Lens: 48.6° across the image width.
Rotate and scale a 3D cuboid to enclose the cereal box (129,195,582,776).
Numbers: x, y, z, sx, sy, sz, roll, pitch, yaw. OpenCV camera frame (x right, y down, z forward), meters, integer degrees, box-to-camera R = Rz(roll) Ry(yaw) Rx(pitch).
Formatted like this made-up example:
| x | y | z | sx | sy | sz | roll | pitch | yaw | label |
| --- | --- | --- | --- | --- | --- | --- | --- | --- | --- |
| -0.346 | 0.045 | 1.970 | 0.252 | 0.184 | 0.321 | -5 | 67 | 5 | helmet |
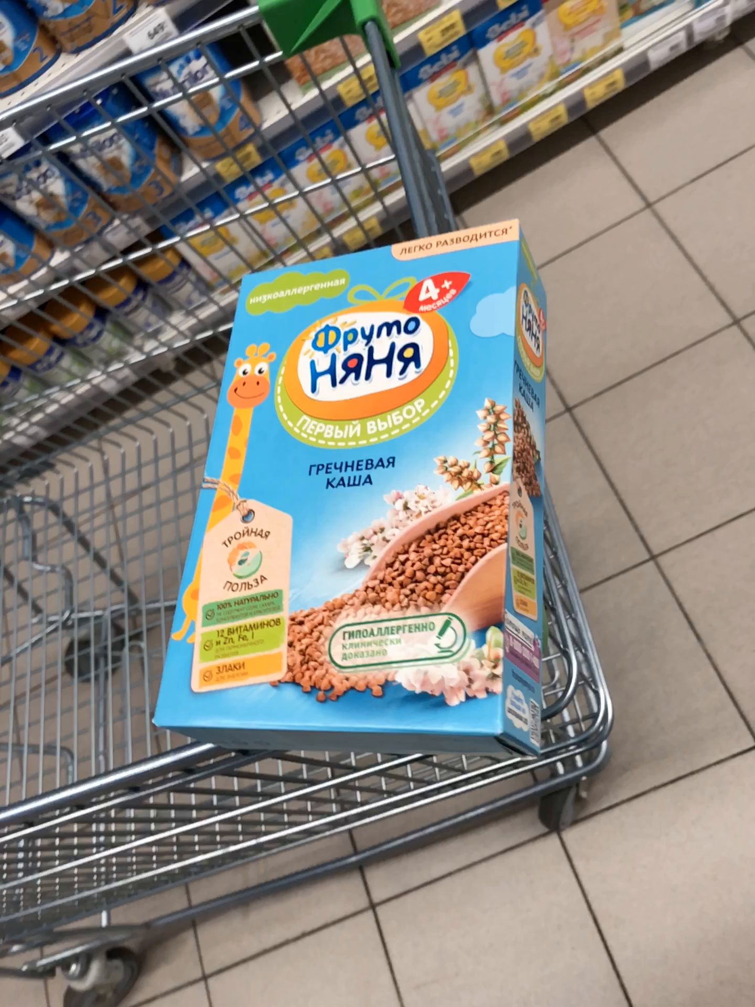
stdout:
| x | y | z | sx | sy | sz | roll | pitch | yaw | label |
| --- | --- | --- | --- | --- | --- | --- | --- | --- | --- |
| -0.001 | -0.008 | 0.332 | 0.150 | 0.050 | 0.210 | -5 | 64 | 23 | cereal box |
